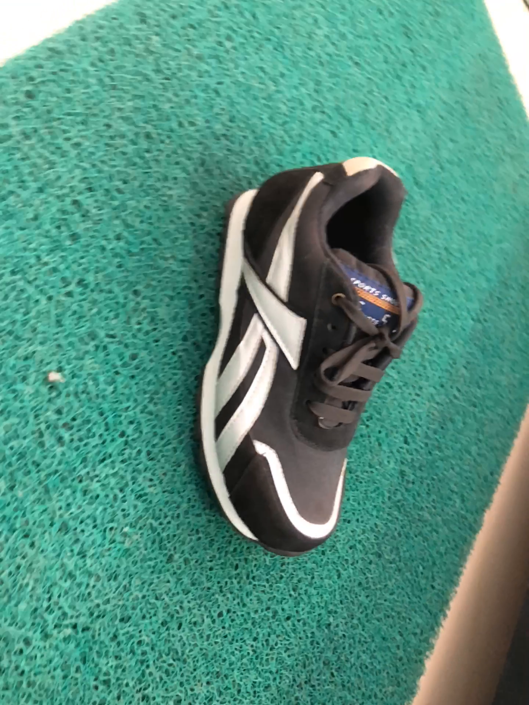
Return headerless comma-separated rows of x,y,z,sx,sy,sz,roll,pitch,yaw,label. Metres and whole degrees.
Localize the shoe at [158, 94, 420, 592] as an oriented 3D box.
0.021,-0.003,0.405,0.101,0.109,0.290,17,75,-40,shoe
